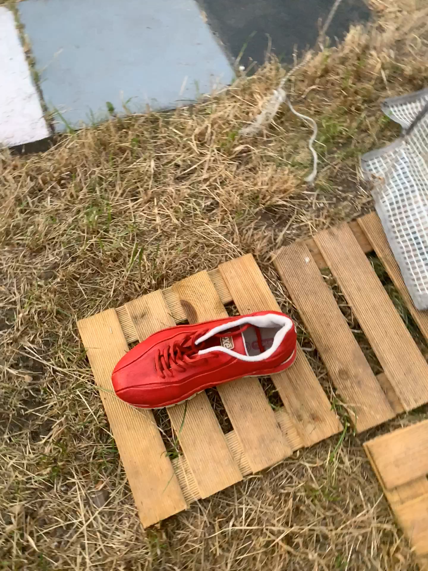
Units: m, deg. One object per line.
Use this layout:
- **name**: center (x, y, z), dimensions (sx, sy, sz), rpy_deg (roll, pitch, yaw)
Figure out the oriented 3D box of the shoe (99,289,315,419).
- **shoe**: center (-0.009, 0.098, 0.597), dimensions (0.260, 0.100, 0.100), rpy_deg (-13, 68, -1)
